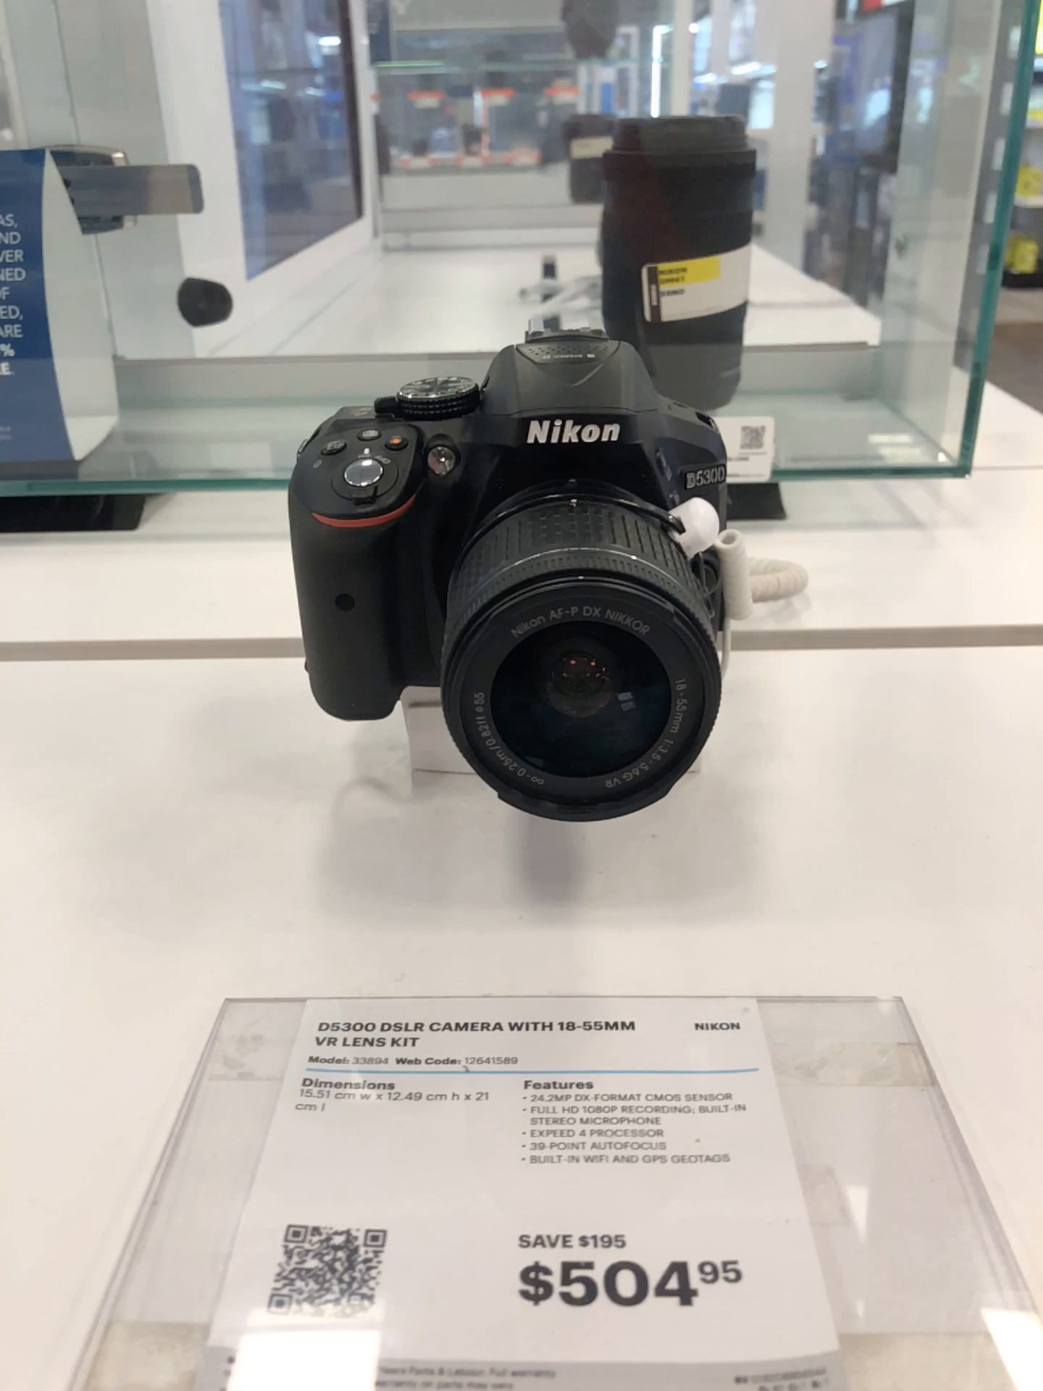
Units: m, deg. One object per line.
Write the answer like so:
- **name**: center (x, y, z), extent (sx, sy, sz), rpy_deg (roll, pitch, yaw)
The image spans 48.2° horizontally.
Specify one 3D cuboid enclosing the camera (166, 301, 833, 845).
- **camera**: center (-0.003, -0.042, 0.312), extent (0.130, 0.100, 0.141), rpy_deg (-1, 26, 1)
